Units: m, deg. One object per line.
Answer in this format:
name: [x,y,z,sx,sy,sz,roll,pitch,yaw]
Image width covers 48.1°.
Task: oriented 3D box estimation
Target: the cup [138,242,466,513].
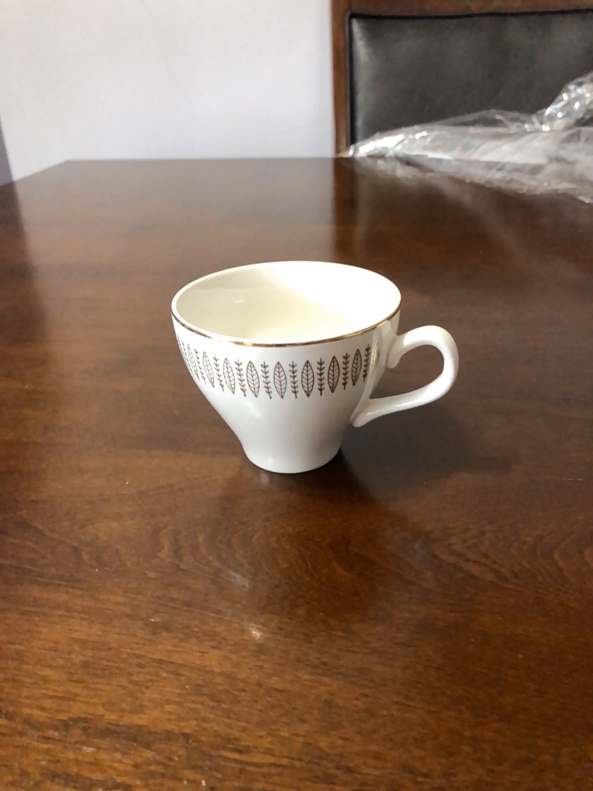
cup: [0.010,-0.014,0.250,0.100,0.060,0.090,5,29,12]
